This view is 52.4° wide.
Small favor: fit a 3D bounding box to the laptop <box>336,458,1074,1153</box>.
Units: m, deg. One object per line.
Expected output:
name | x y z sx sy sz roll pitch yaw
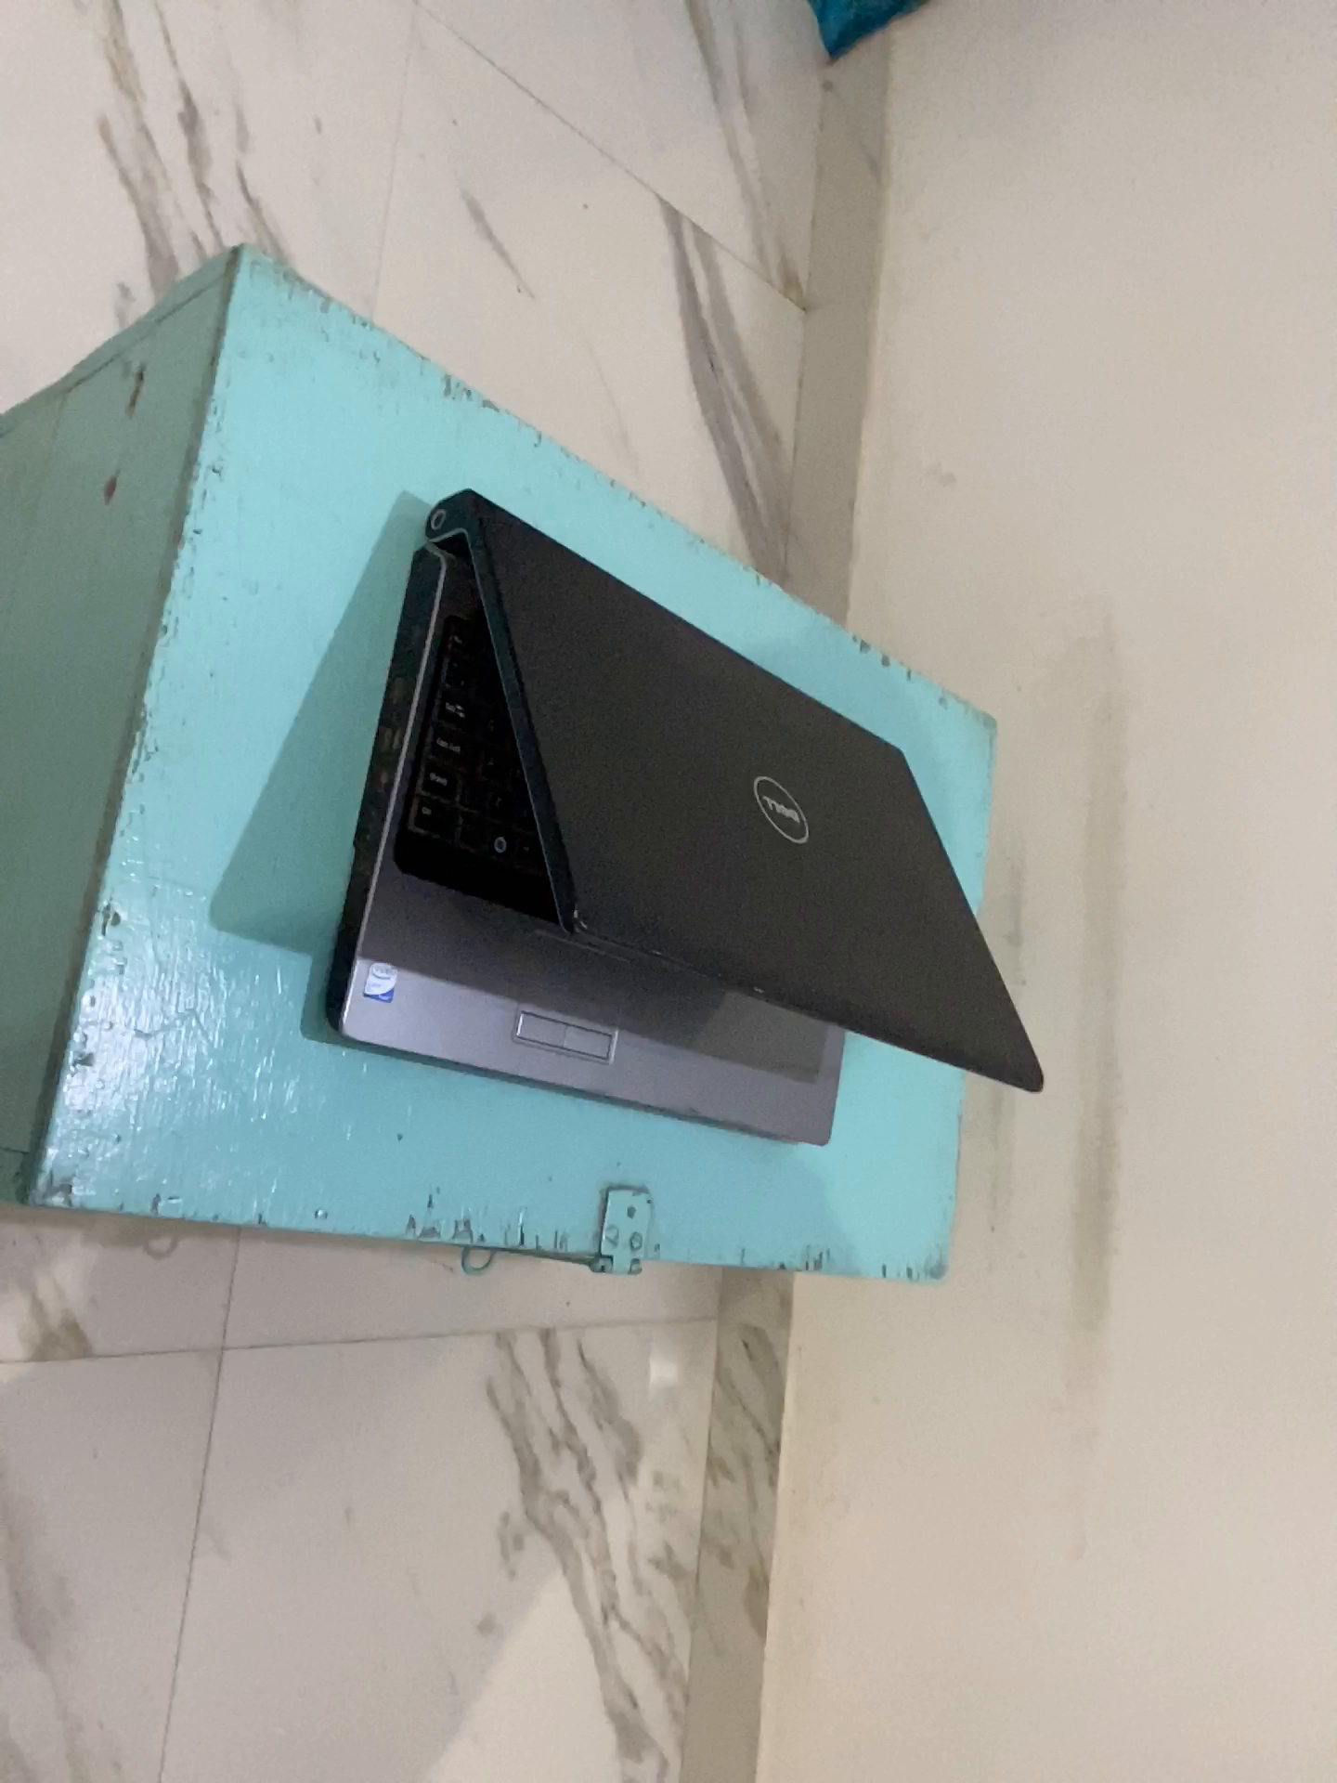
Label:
laptop | 0.050 -0.013 0.760 0.389 0.152 0.261 20 74 -44
